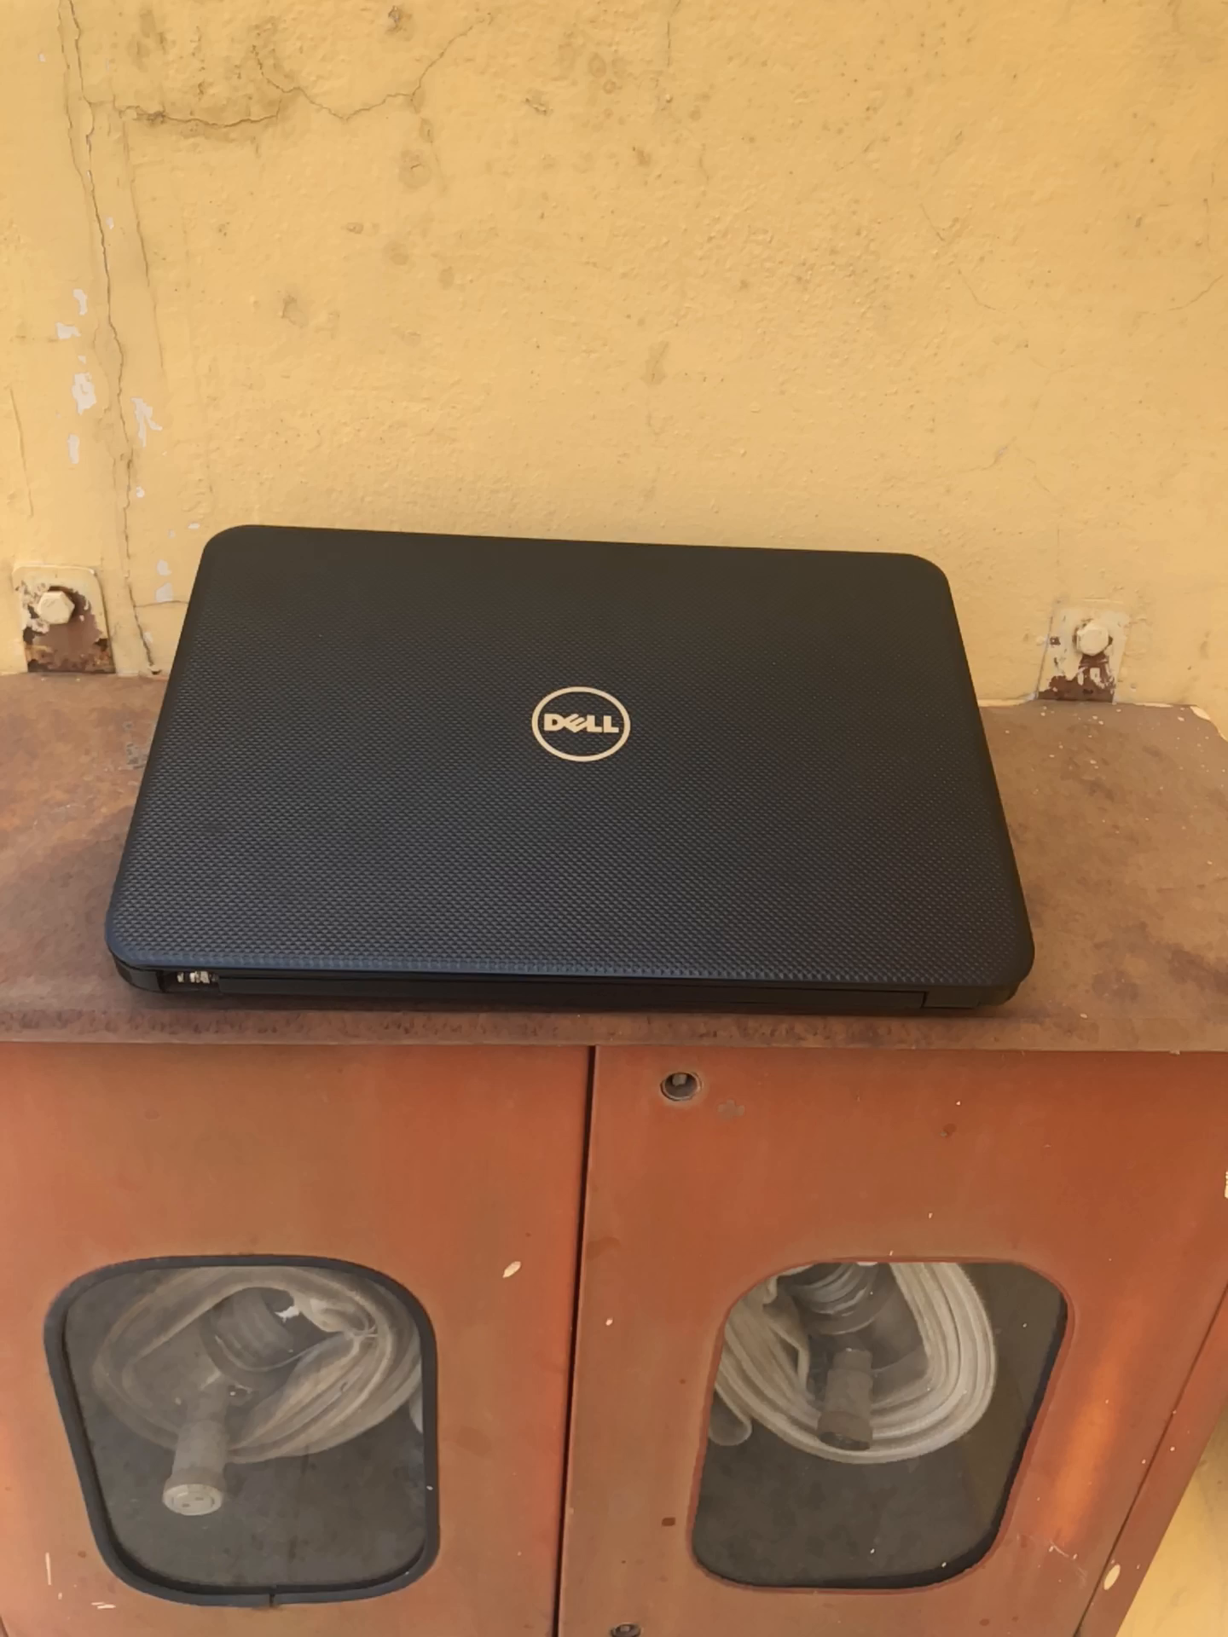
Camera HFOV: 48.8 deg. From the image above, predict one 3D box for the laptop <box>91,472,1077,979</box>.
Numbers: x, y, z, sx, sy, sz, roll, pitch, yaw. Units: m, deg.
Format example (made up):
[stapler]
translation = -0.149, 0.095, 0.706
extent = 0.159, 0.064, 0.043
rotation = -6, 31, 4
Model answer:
[laptop]
translation = -0.010, -0.045, 0.576
extent = 0.352, 0.098, 0.184
rotation = 2, 42, -3
